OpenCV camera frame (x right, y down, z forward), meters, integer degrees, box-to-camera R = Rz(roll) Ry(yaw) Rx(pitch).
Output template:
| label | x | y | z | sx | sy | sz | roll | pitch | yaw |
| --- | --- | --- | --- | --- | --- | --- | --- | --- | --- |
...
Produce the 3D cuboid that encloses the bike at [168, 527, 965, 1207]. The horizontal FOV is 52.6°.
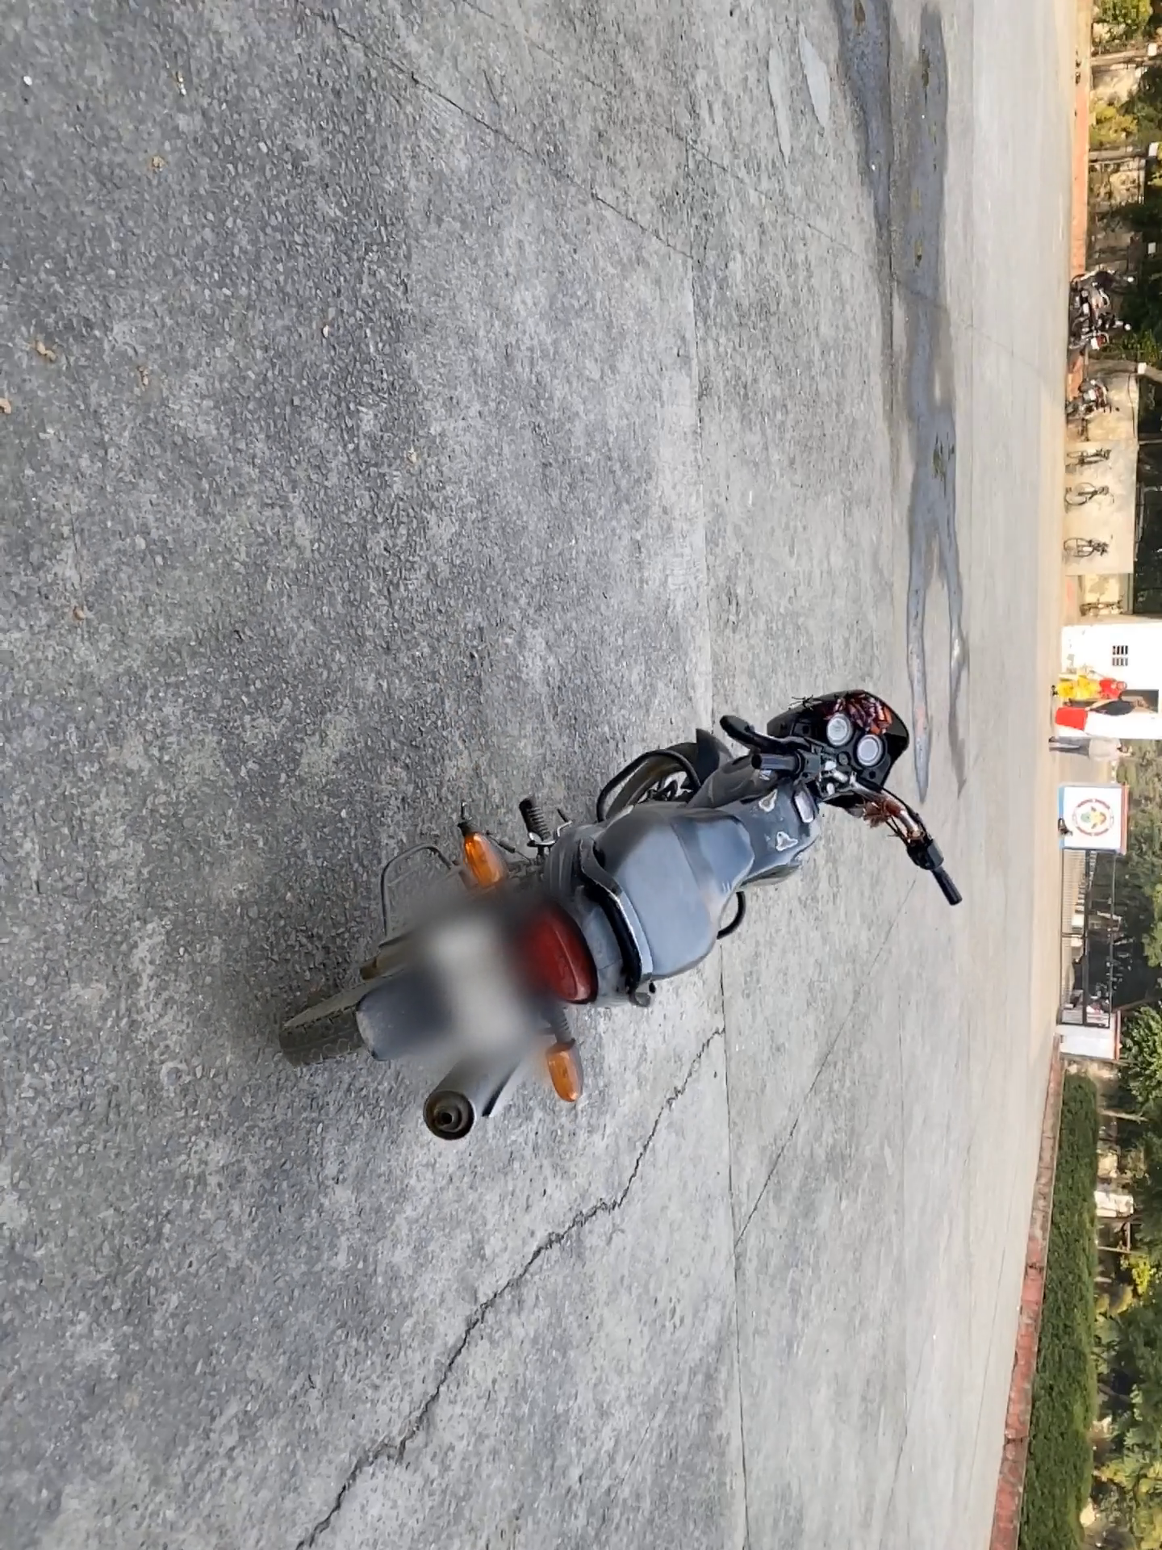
| label | x | y | z | sx | sy | sz | roll | pitch | yaw |
| --- | --- | --- | --- | --- | --- | --- | --- | --- | --- |
| bike | 0.176 | -0.036 | 2.541 | 1.745 | 1.079 | 0.772 | -33 | 122 | -62 |
